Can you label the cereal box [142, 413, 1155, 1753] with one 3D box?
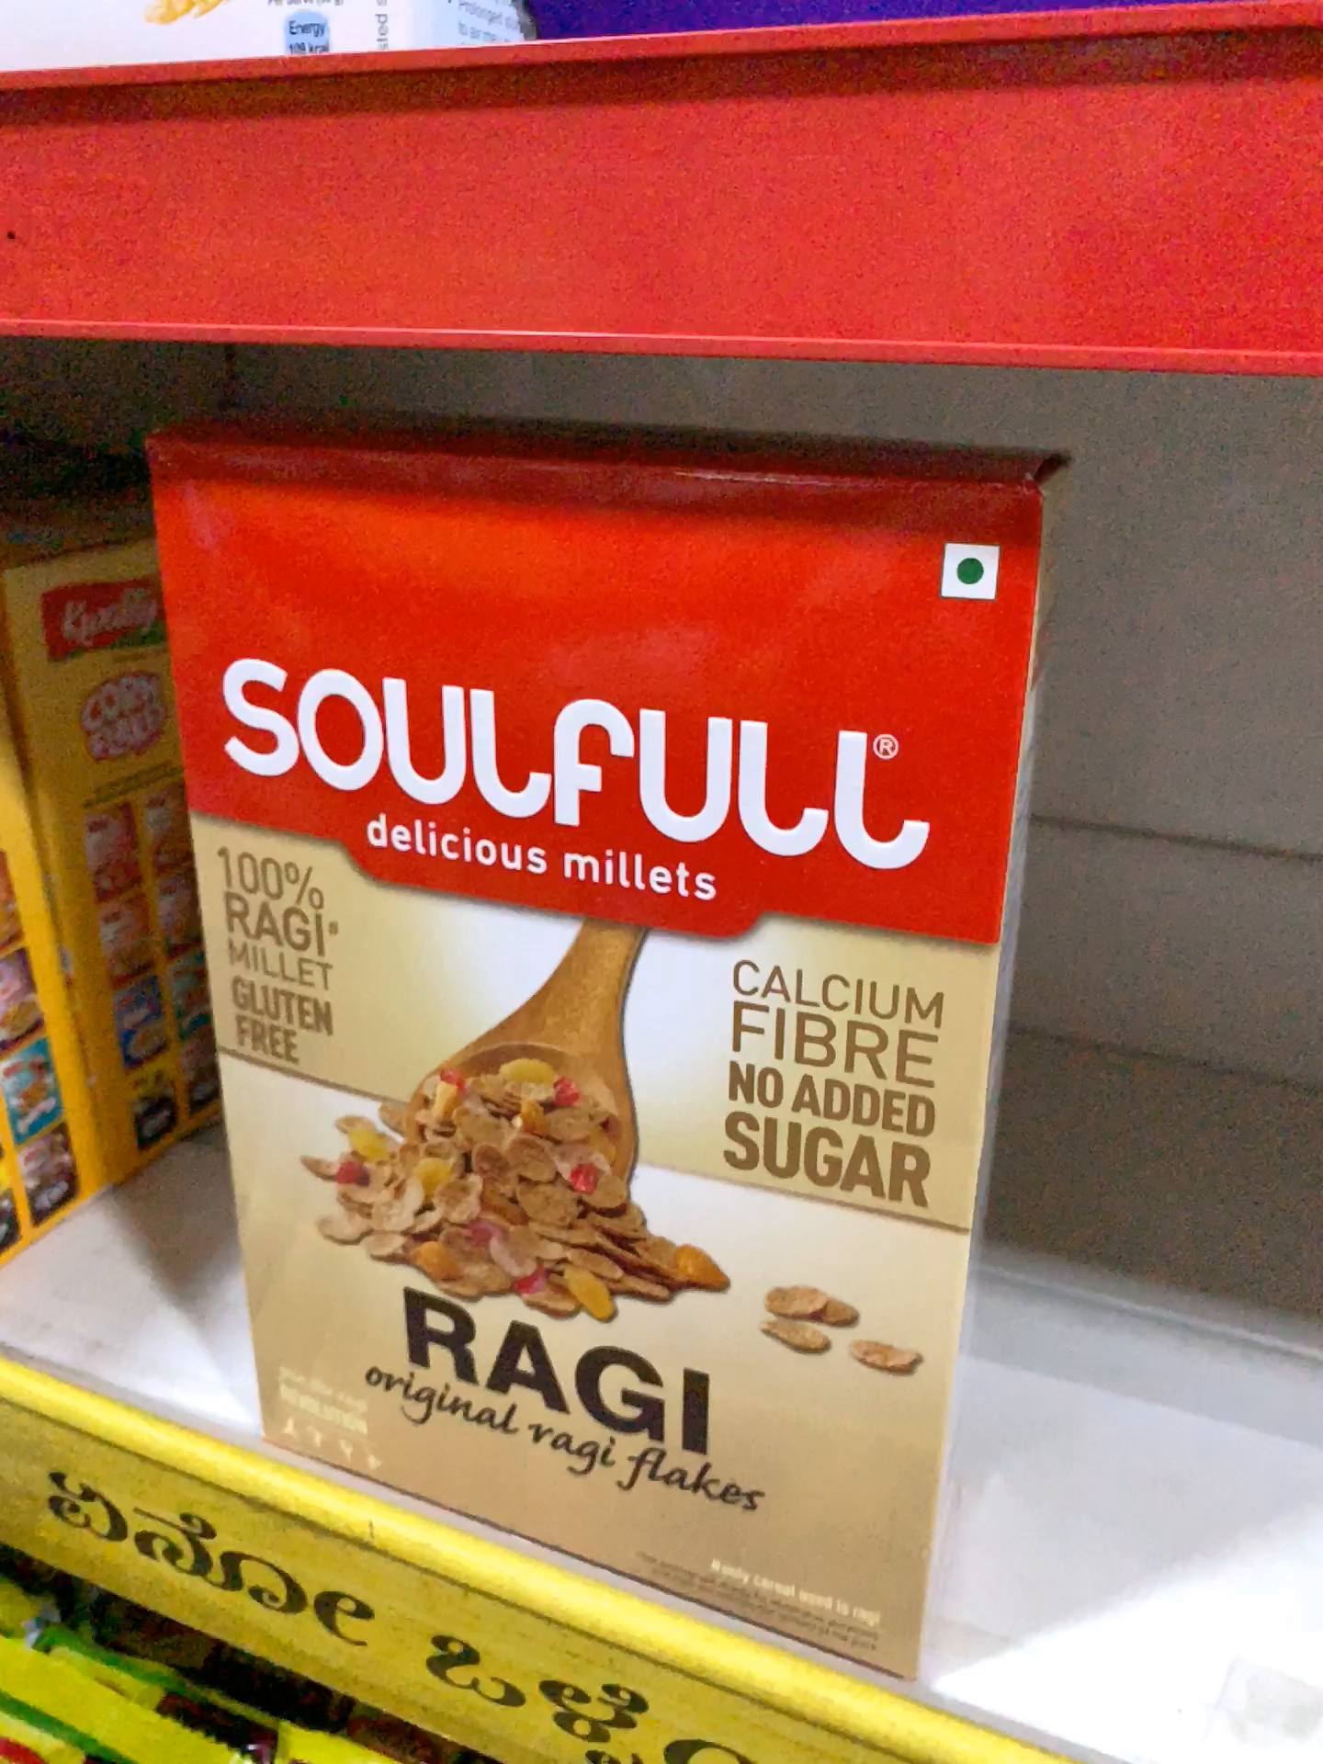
[{"bbox_3d":[-0.006,0.037,0.291,0.170,0.248,0.060,9,22,20],"label":"cereal box"}]
